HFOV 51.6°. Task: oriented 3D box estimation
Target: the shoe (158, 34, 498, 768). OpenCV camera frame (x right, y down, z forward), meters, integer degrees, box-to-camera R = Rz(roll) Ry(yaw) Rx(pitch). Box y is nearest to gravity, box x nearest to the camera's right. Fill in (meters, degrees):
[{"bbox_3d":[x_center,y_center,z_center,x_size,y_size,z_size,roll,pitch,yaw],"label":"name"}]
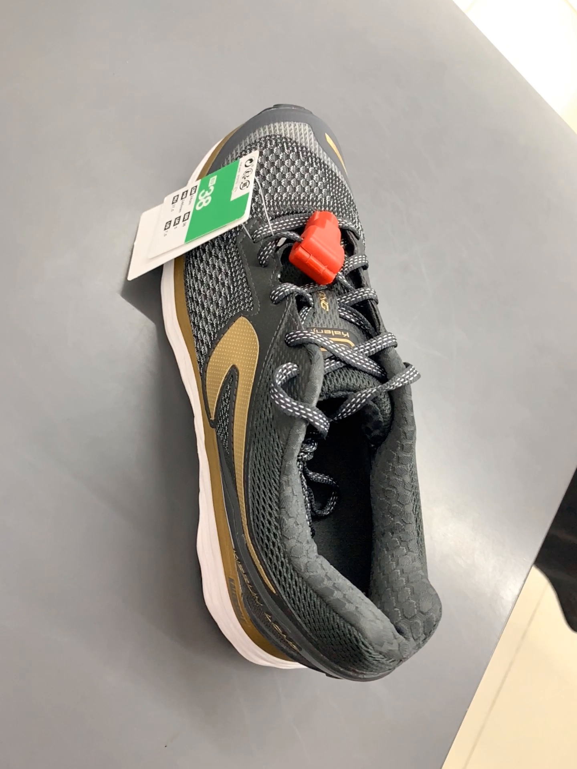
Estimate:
[{"bbox_3d":[0.004,0.001,0.252,0.100,0.090,0.240,2,77,-23],"label":"shoe"}]
